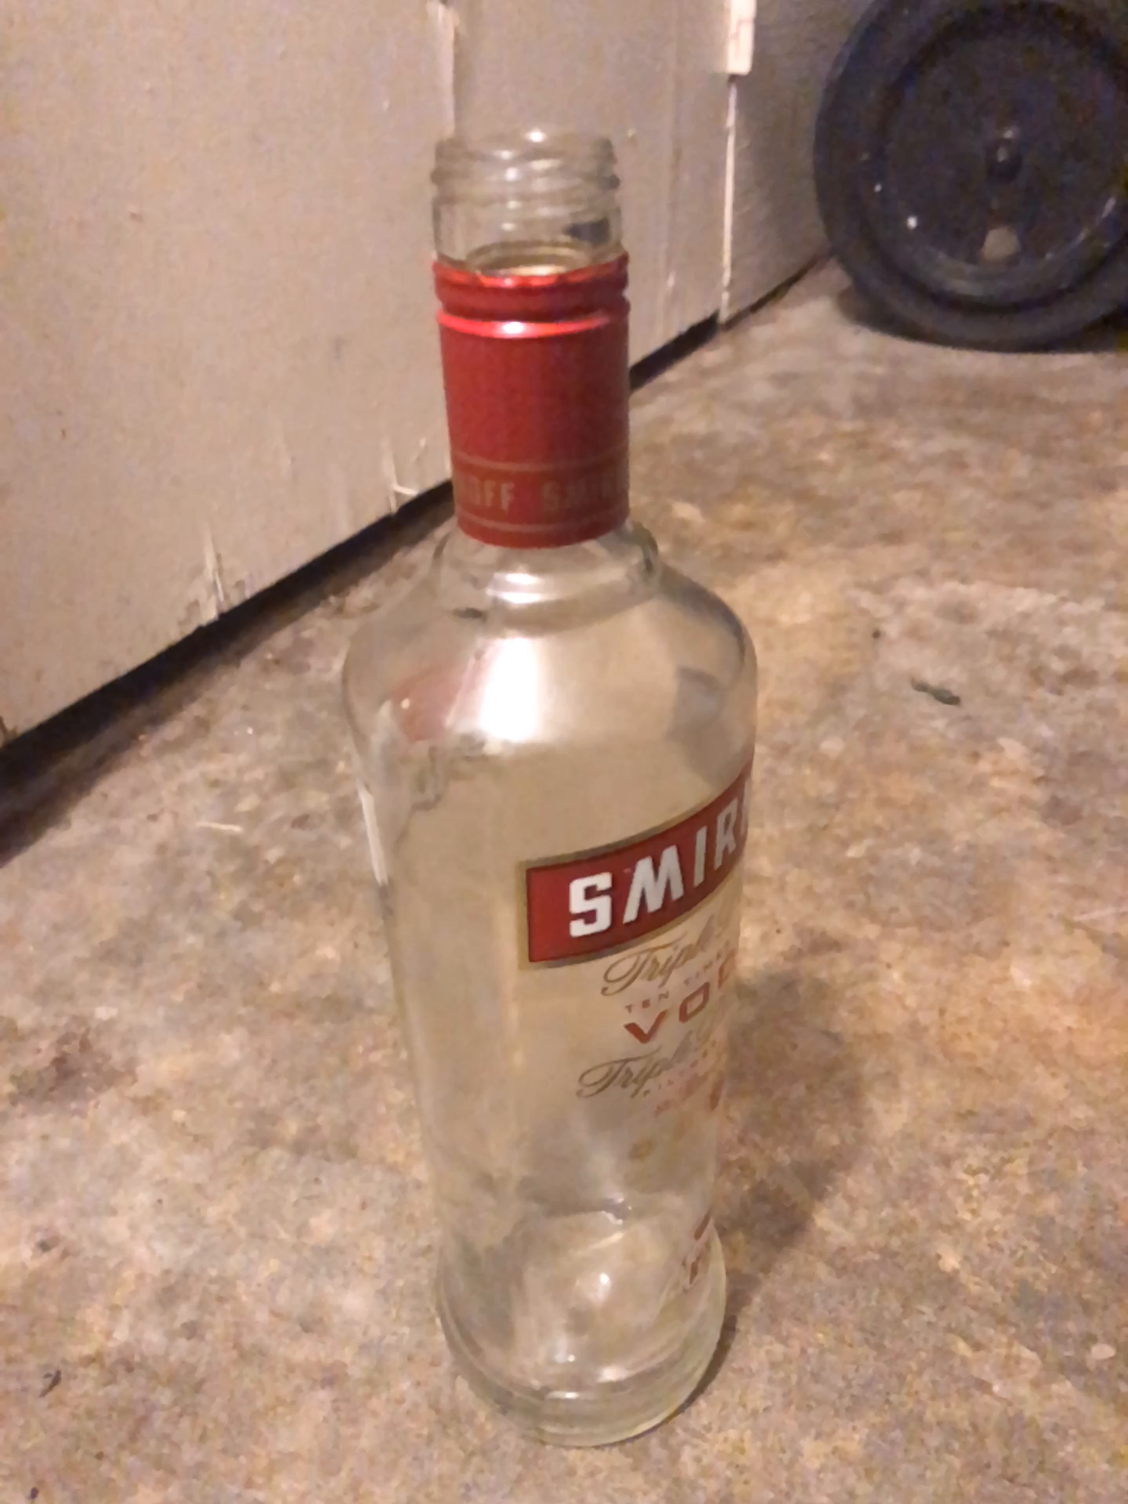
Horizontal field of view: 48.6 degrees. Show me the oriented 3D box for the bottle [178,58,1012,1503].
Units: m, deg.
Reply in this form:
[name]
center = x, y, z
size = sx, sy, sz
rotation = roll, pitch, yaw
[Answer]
[bottle]
center = 0.008, 0.032, 0.249
size = 0.080, 0.288, 0.080
rotation = -1, 35, 1
